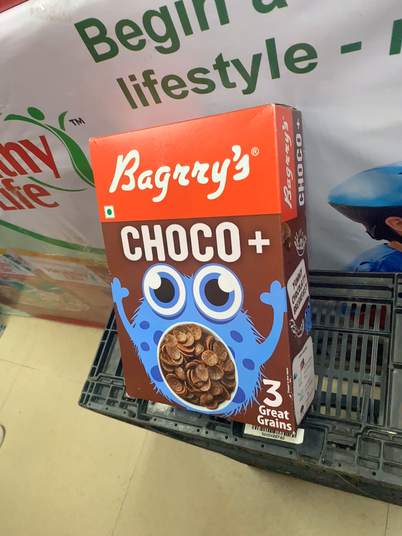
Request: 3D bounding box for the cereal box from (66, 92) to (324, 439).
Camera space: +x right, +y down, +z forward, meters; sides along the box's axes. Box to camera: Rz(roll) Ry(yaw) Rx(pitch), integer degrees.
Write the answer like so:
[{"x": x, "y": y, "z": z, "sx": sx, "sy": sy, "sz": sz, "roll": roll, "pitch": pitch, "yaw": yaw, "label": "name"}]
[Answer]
[{"x": -0.003, "y": -0.003, "z": 0.361, "sx": 0.191, "sy": 0.080, "sz": 0.240, "roll": 2, "pitch": 103, "yaw": 31, "label": "cereal box"}]
